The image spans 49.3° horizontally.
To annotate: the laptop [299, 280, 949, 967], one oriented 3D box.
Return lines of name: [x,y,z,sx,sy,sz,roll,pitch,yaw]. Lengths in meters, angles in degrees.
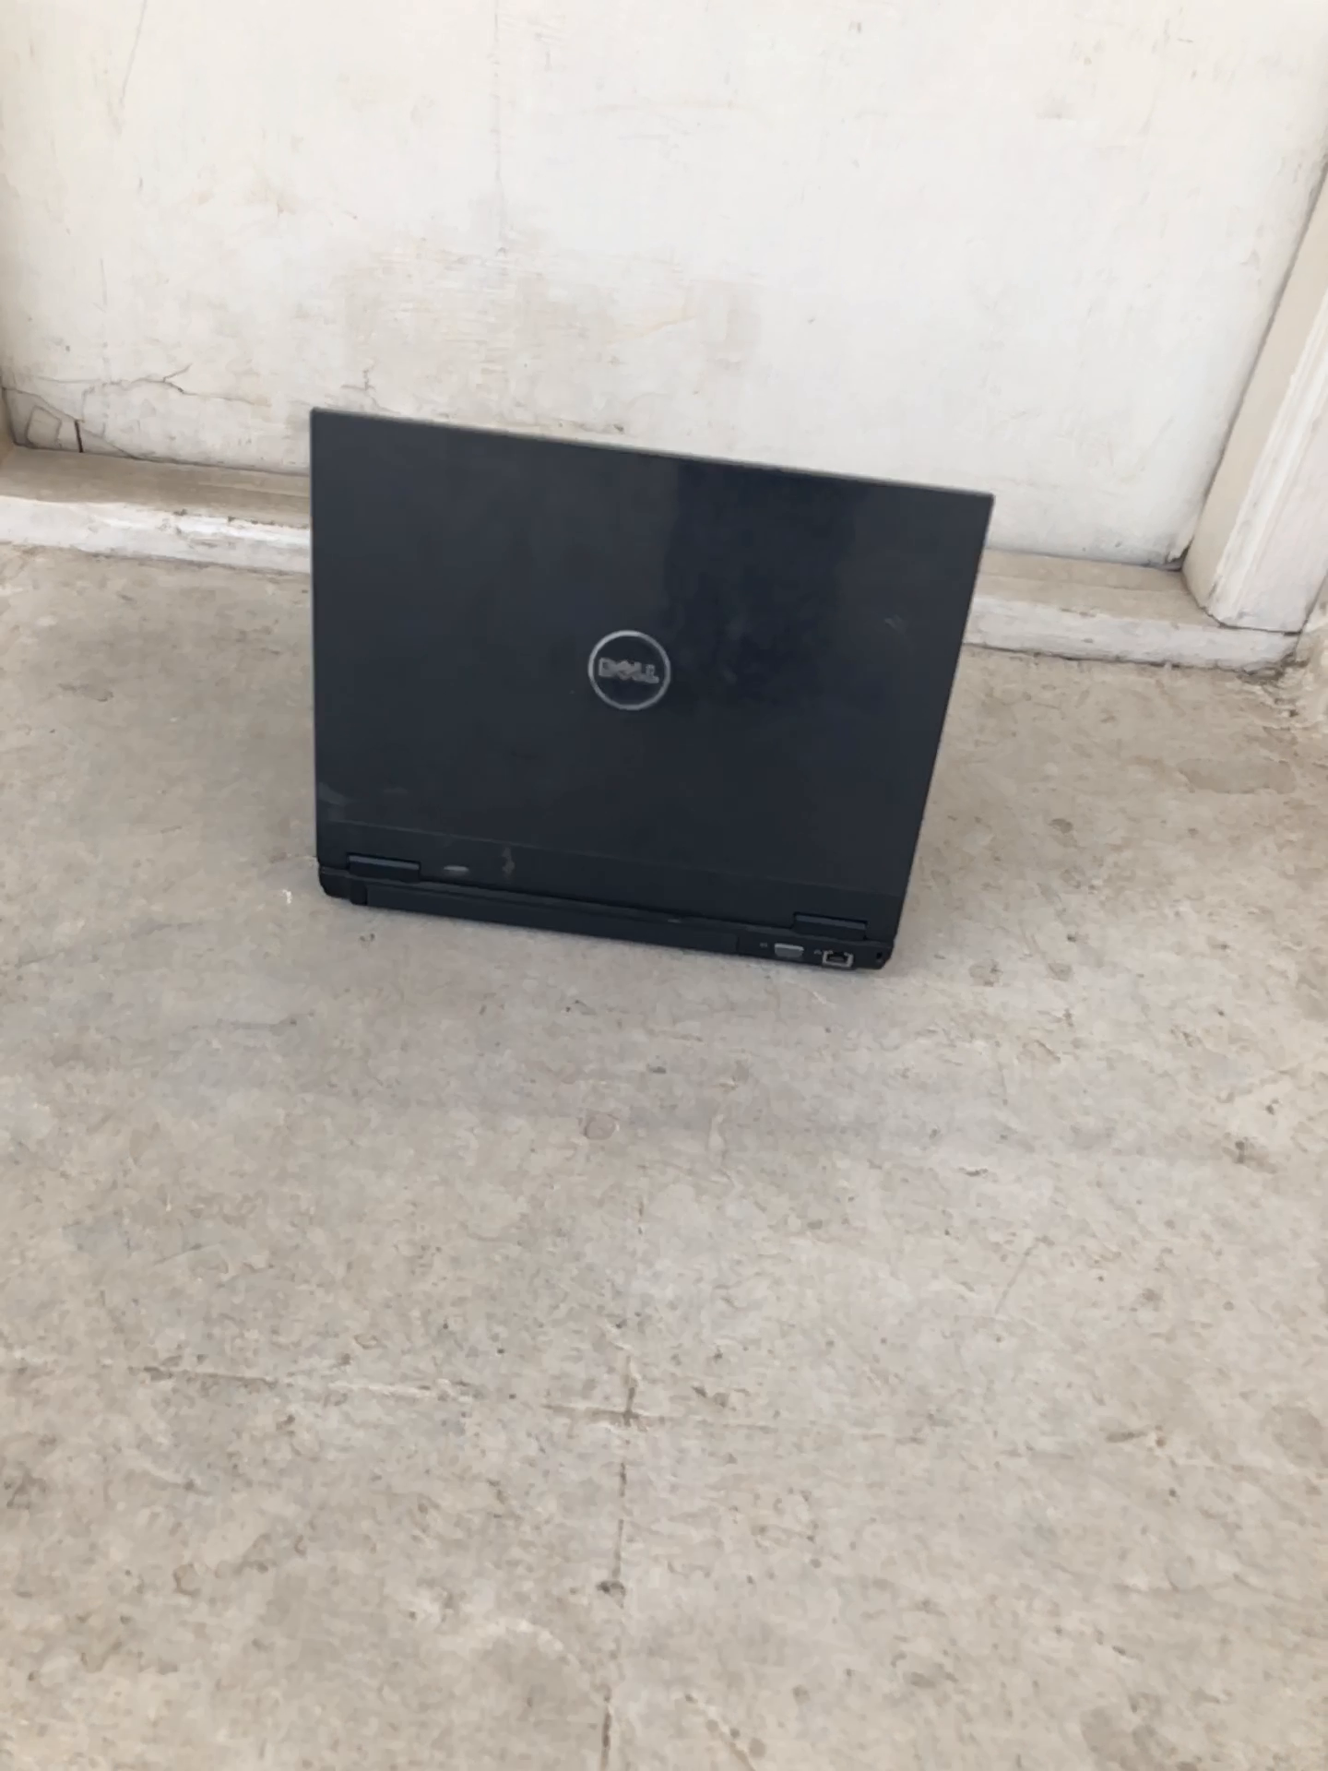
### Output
laptop: [-0.015,-0.142,0.780,0.279,0.251,0.225,7,42,2]
